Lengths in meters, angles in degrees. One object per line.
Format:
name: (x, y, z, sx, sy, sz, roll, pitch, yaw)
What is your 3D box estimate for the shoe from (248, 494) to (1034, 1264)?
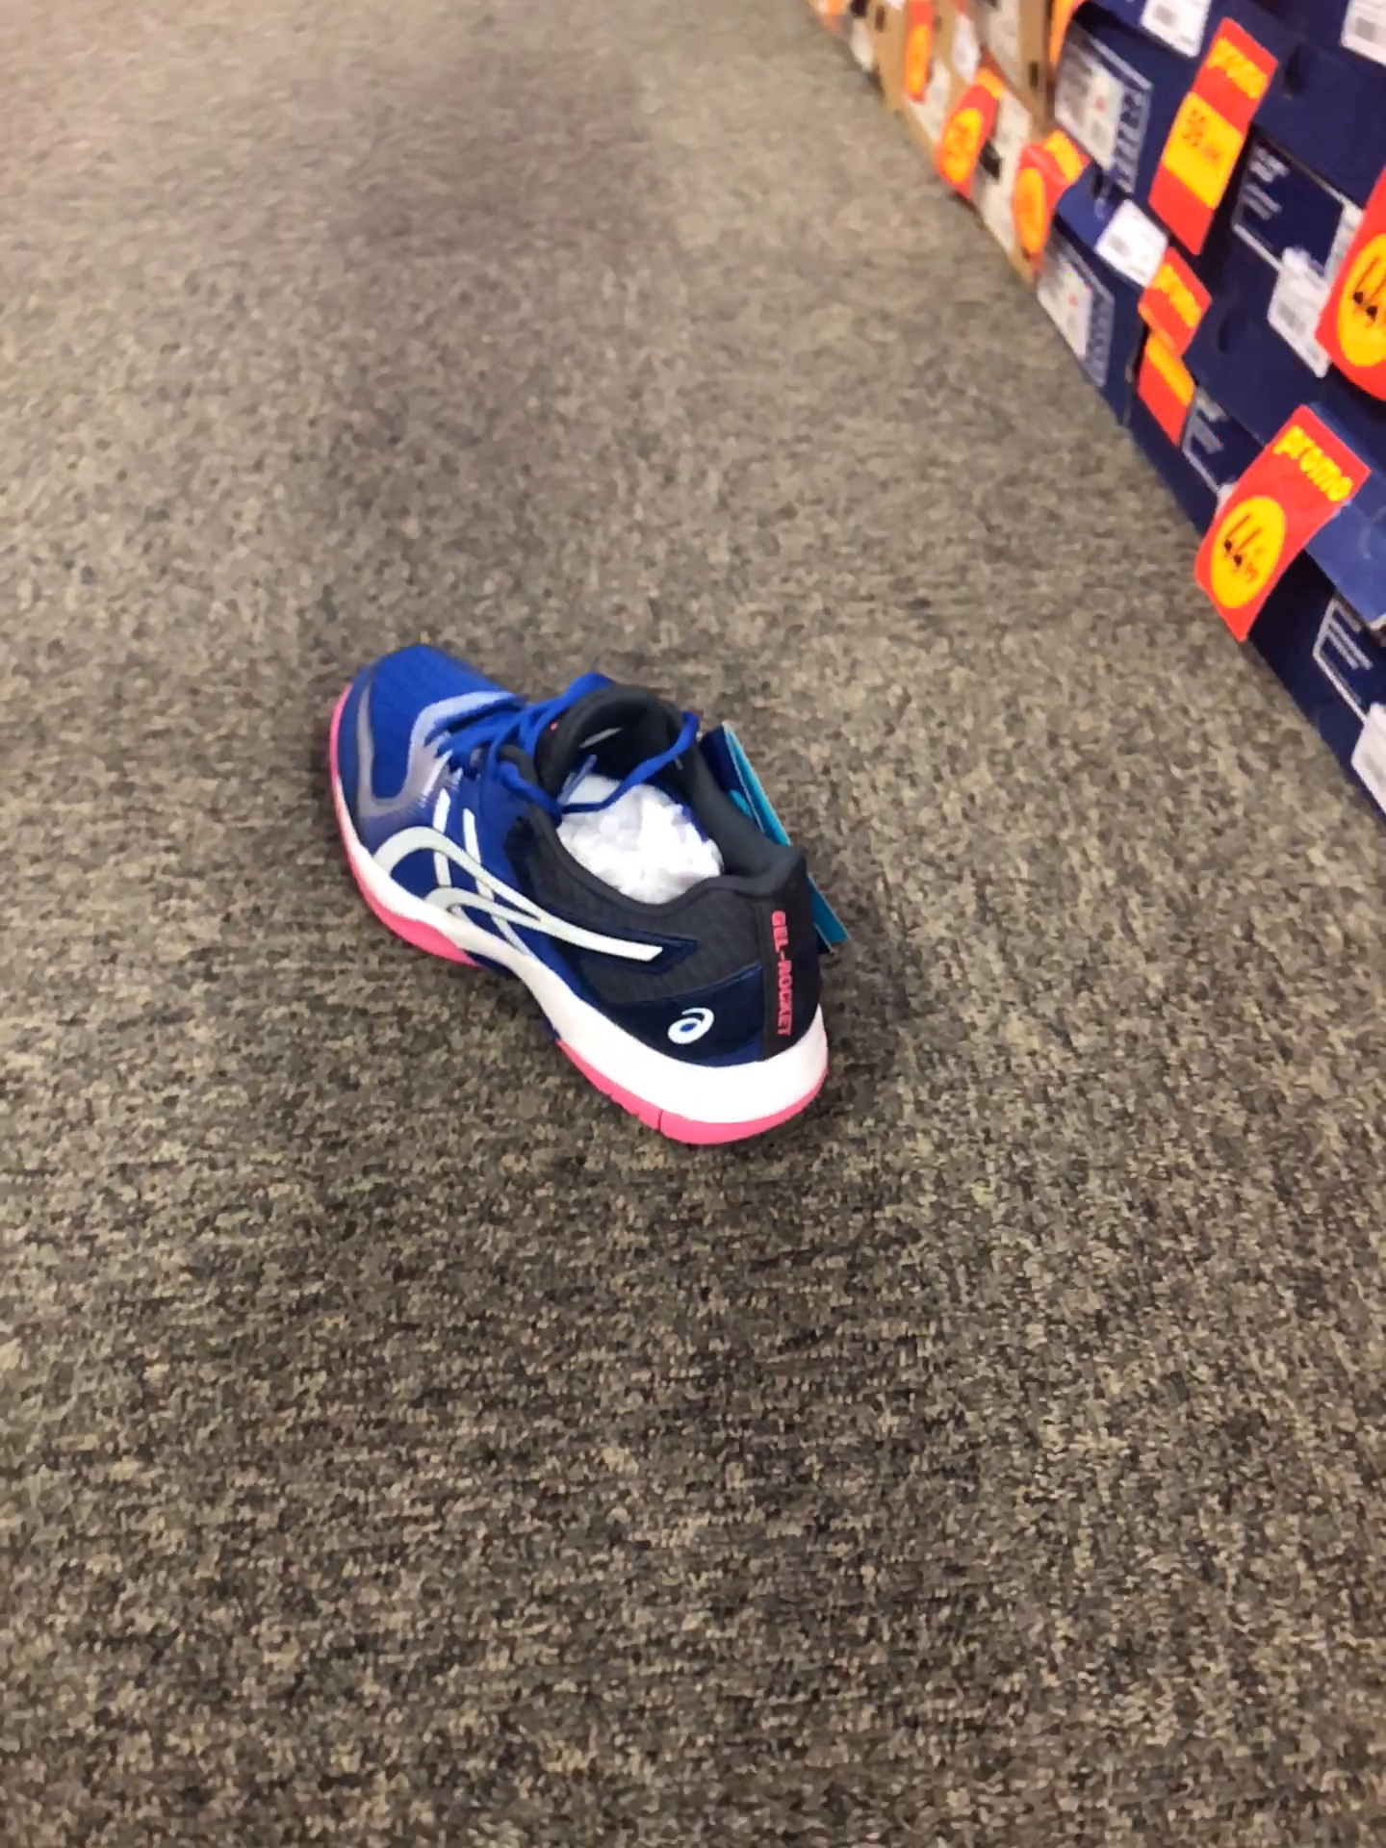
shoe: (-0.031, -0.034, 0.538, 0.126, 0.099, 0.271, -26, 51, -27)
